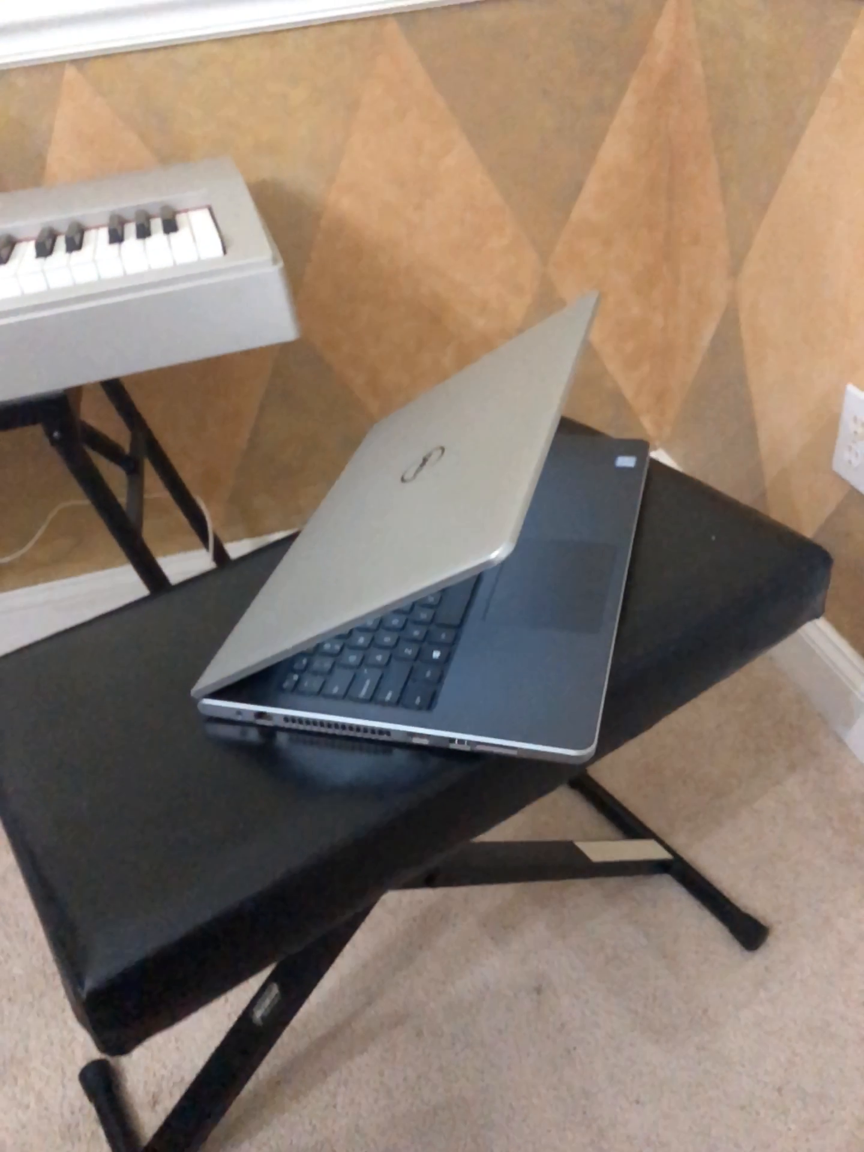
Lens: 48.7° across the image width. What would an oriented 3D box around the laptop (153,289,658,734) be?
[{"bbox_3d":[0.018,-0.079,0.709,0.256,0.131,0.378,5,38,15],"label":"laptop"}]
